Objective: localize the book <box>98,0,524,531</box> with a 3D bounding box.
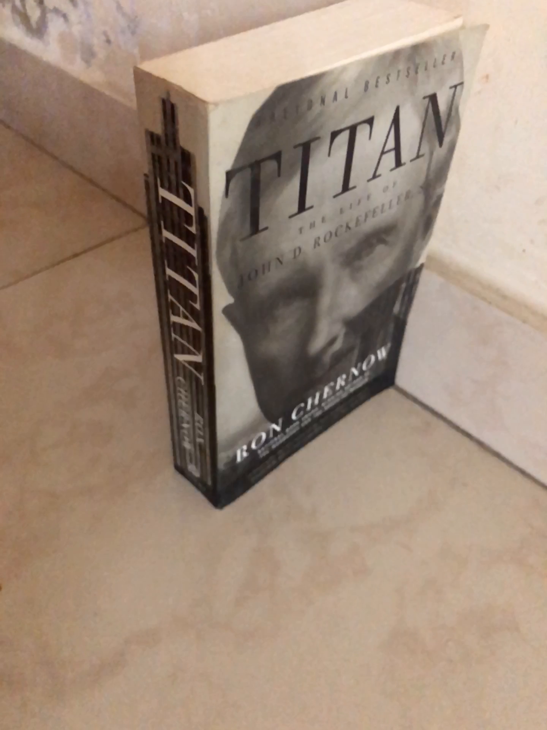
[{"bbox_3d":[0.023,-0.055,0.330,0.060,0.229,0.201,34,51,27],"label":"book"}]
